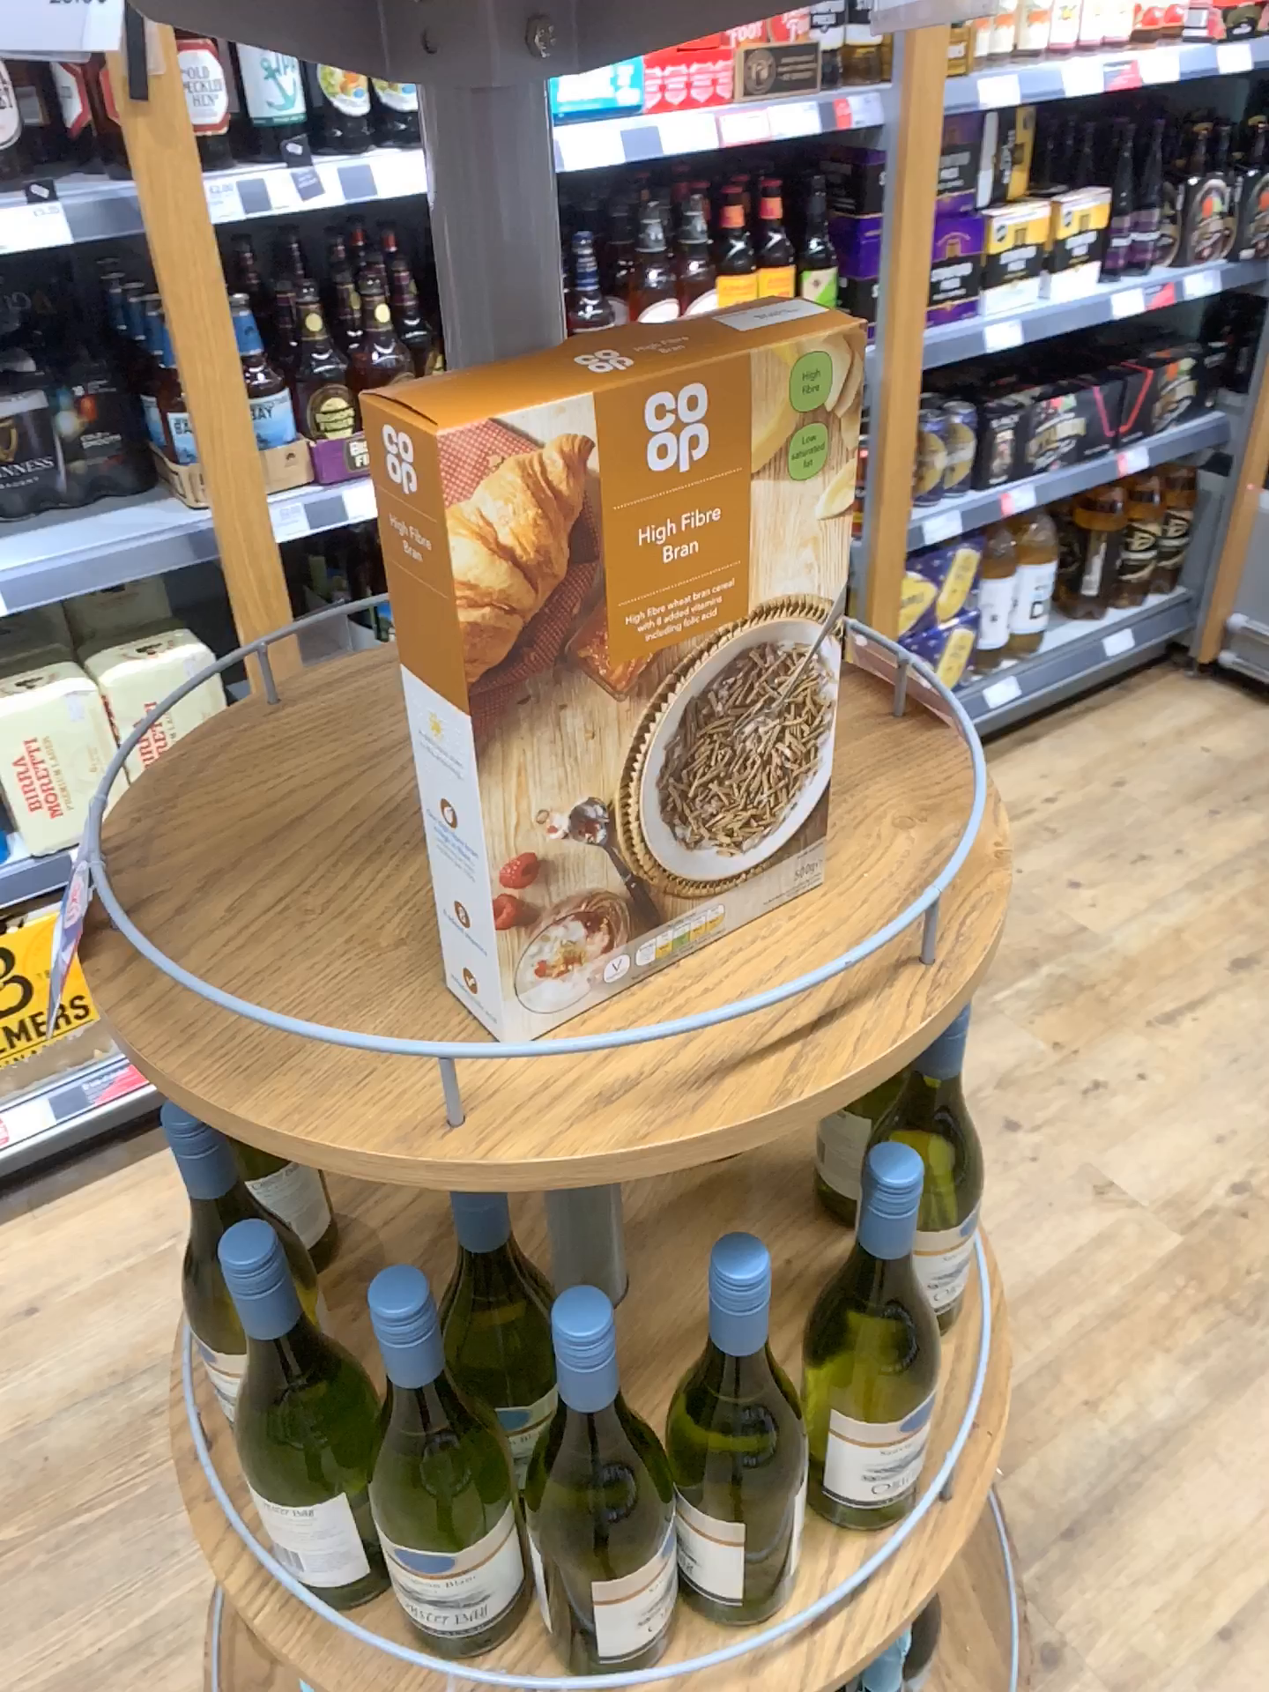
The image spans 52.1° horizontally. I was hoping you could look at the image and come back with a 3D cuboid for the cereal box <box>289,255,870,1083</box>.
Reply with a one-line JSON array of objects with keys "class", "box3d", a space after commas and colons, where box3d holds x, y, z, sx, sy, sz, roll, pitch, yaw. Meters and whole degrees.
[{"class": "cereal box", "box3d": [-0.008, -0.067, 0.521, 0.201, 0.277, 0.060, -26, 42, -29]}]
